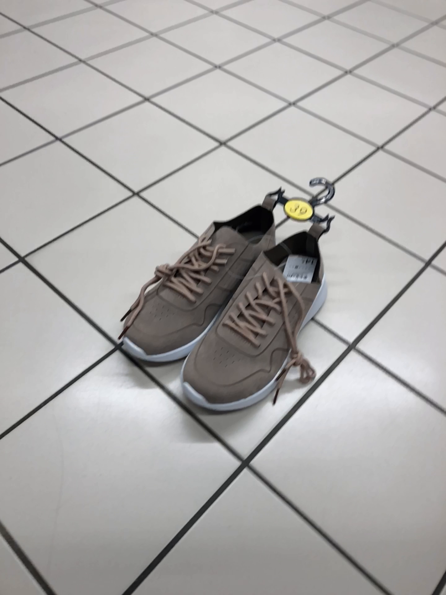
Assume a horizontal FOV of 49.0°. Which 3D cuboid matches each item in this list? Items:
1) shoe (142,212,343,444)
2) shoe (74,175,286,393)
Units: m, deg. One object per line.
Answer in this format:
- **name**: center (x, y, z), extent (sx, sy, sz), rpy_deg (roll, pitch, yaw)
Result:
- **shoe**: center (0.030, 0.021, 0.560), extent (0.100, 0.080, 0.259), rpy_deg (27, 53, 18)
- **shoe**: center (-0.040, -0.027, 0.590), extent (0.100, 0.099, 0.255), rpy_deg (31, 55, 20)
